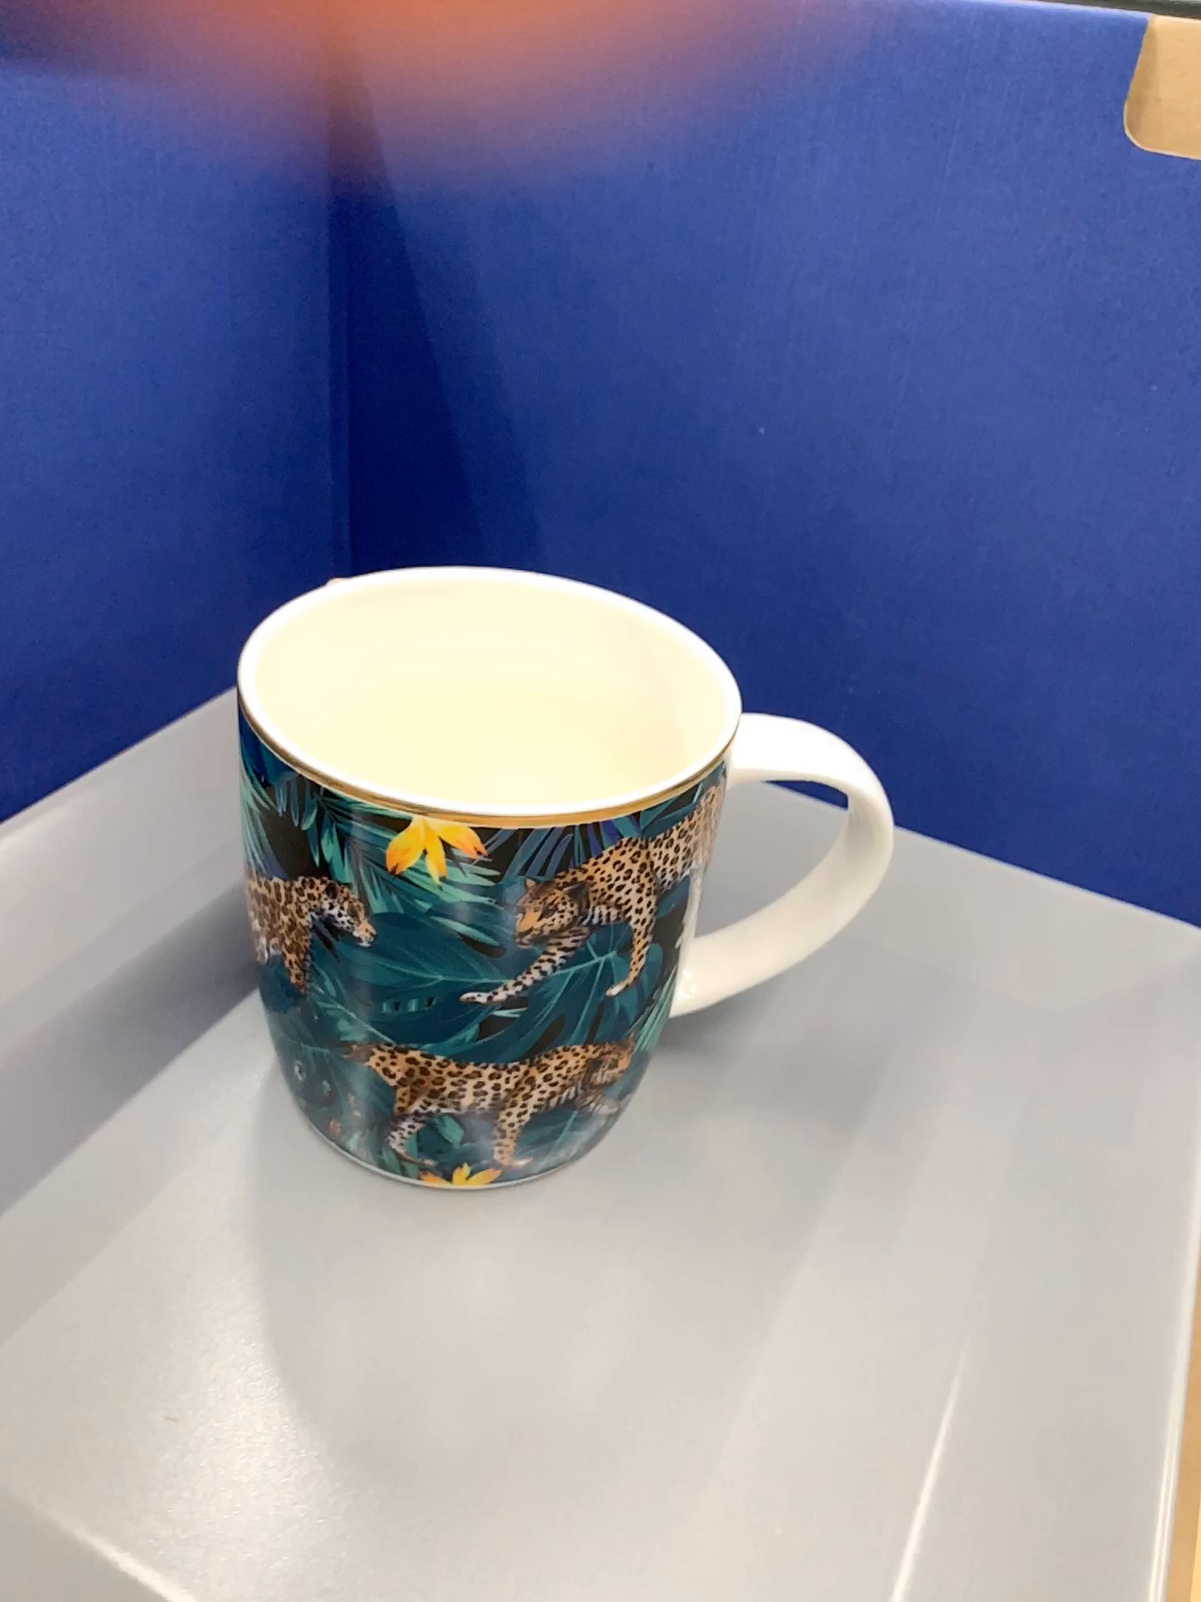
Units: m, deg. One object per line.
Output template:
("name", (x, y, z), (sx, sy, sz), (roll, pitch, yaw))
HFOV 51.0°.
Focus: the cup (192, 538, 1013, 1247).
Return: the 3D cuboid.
("cup", (-0.010, 0.008, 0.248), (0.126, 0.091, 0.093), (-4, 32, -18))
